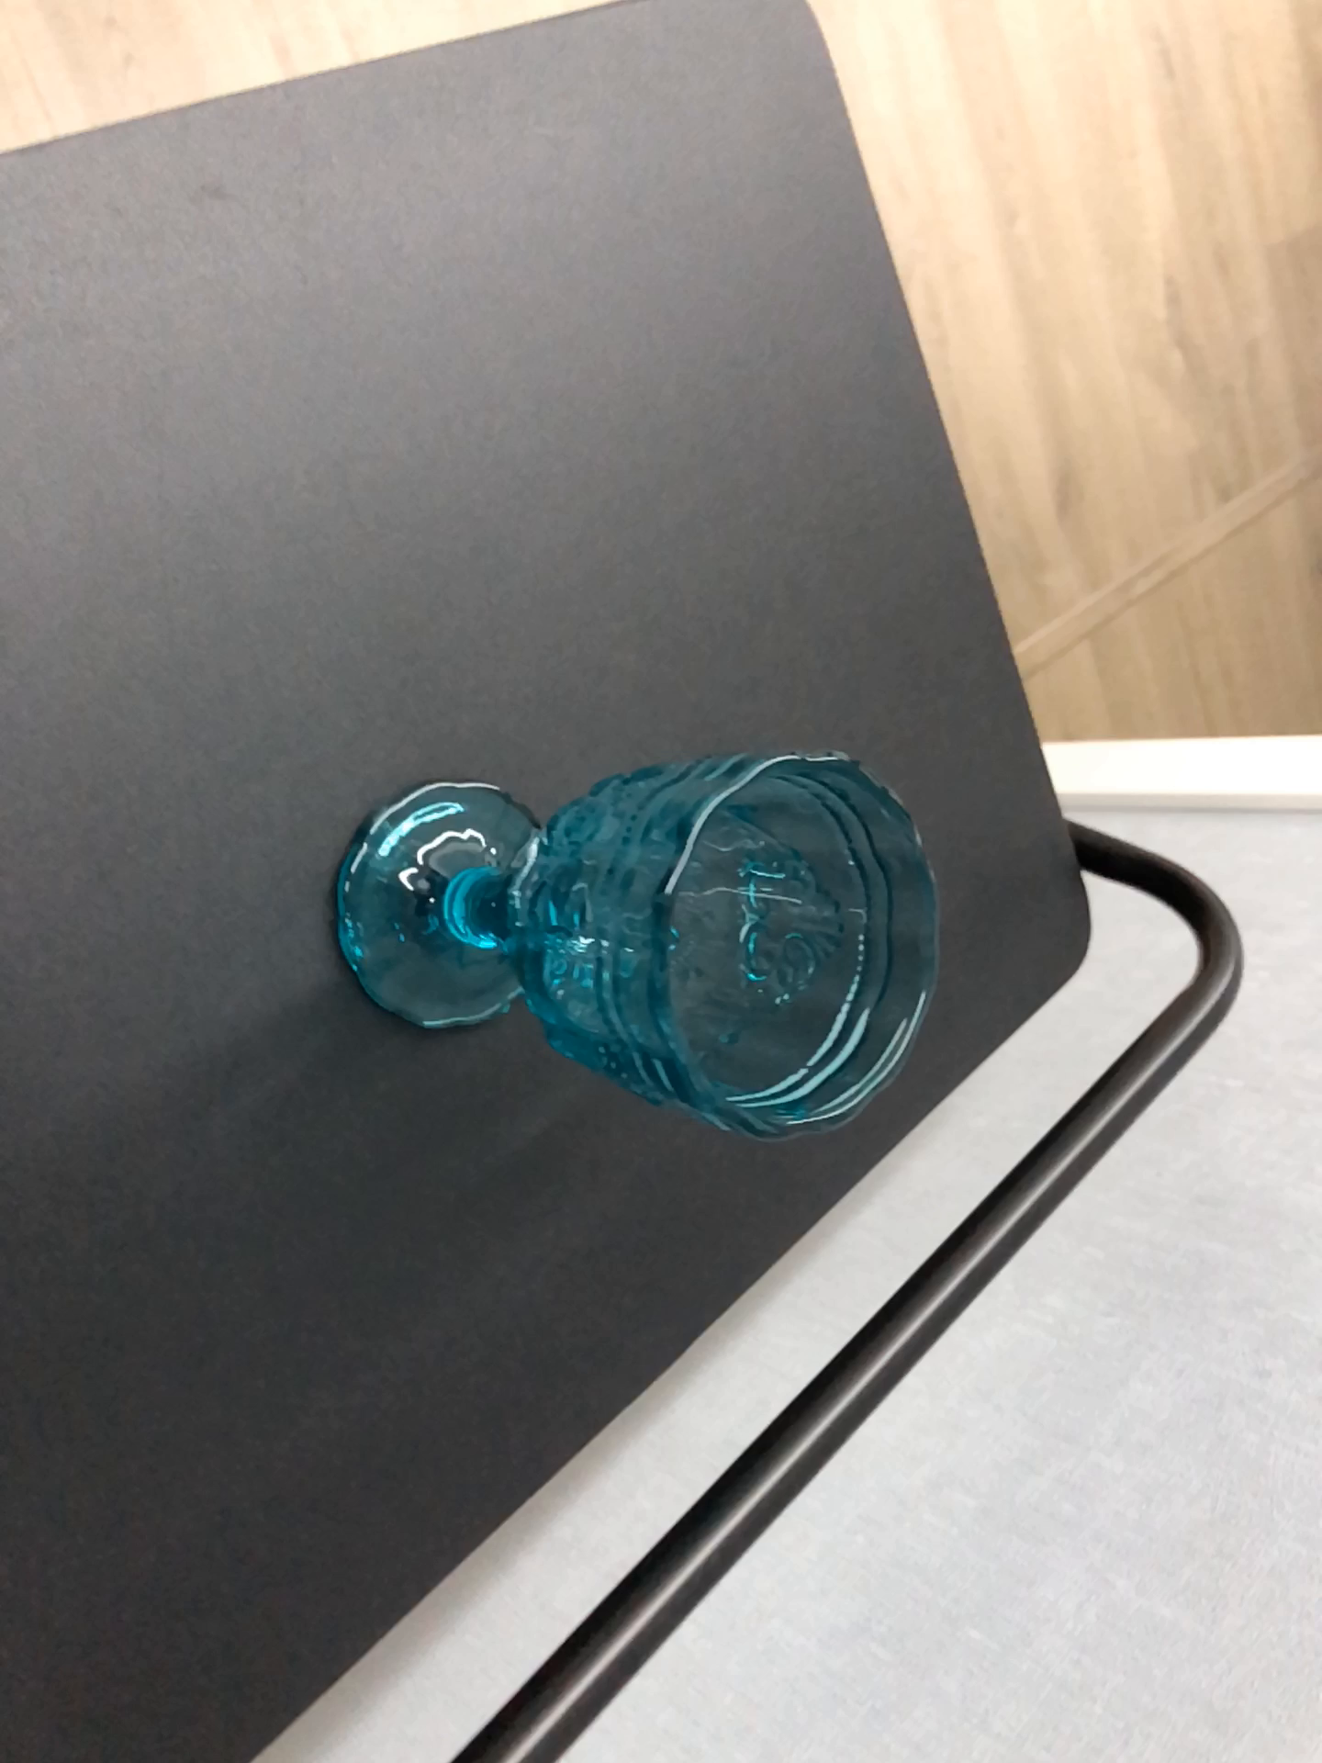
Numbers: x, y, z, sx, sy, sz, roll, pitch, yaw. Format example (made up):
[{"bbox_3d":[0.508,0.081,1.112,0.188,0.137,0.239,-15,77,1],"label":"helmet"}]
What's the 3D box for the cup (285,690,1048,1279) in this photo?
[{"bbox_3d":[-0.005,0.016,0.374,0.085,0.164,0.095,-34,113,-32],"label":"cup"}]
